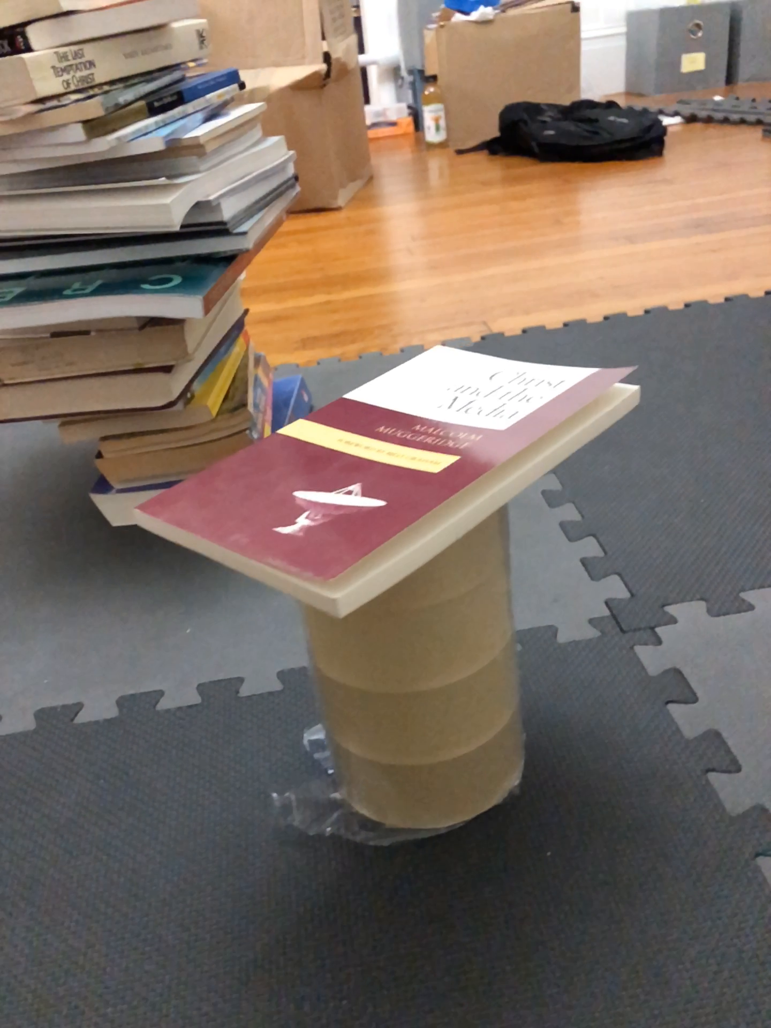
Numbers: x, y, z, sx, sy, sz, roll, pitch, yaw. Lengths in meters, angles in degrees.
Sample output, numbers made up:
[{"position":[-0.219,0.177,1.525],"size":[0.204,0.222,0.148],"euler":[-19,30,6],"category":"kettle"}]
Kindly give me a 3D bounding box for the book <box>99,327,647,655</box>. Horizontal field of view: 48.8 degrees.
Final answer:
[{"position":[0.002,-0.030,0.381],"size":[0.140,0.020,0.211],"euler":[19,41,38],"category":"book"}]
